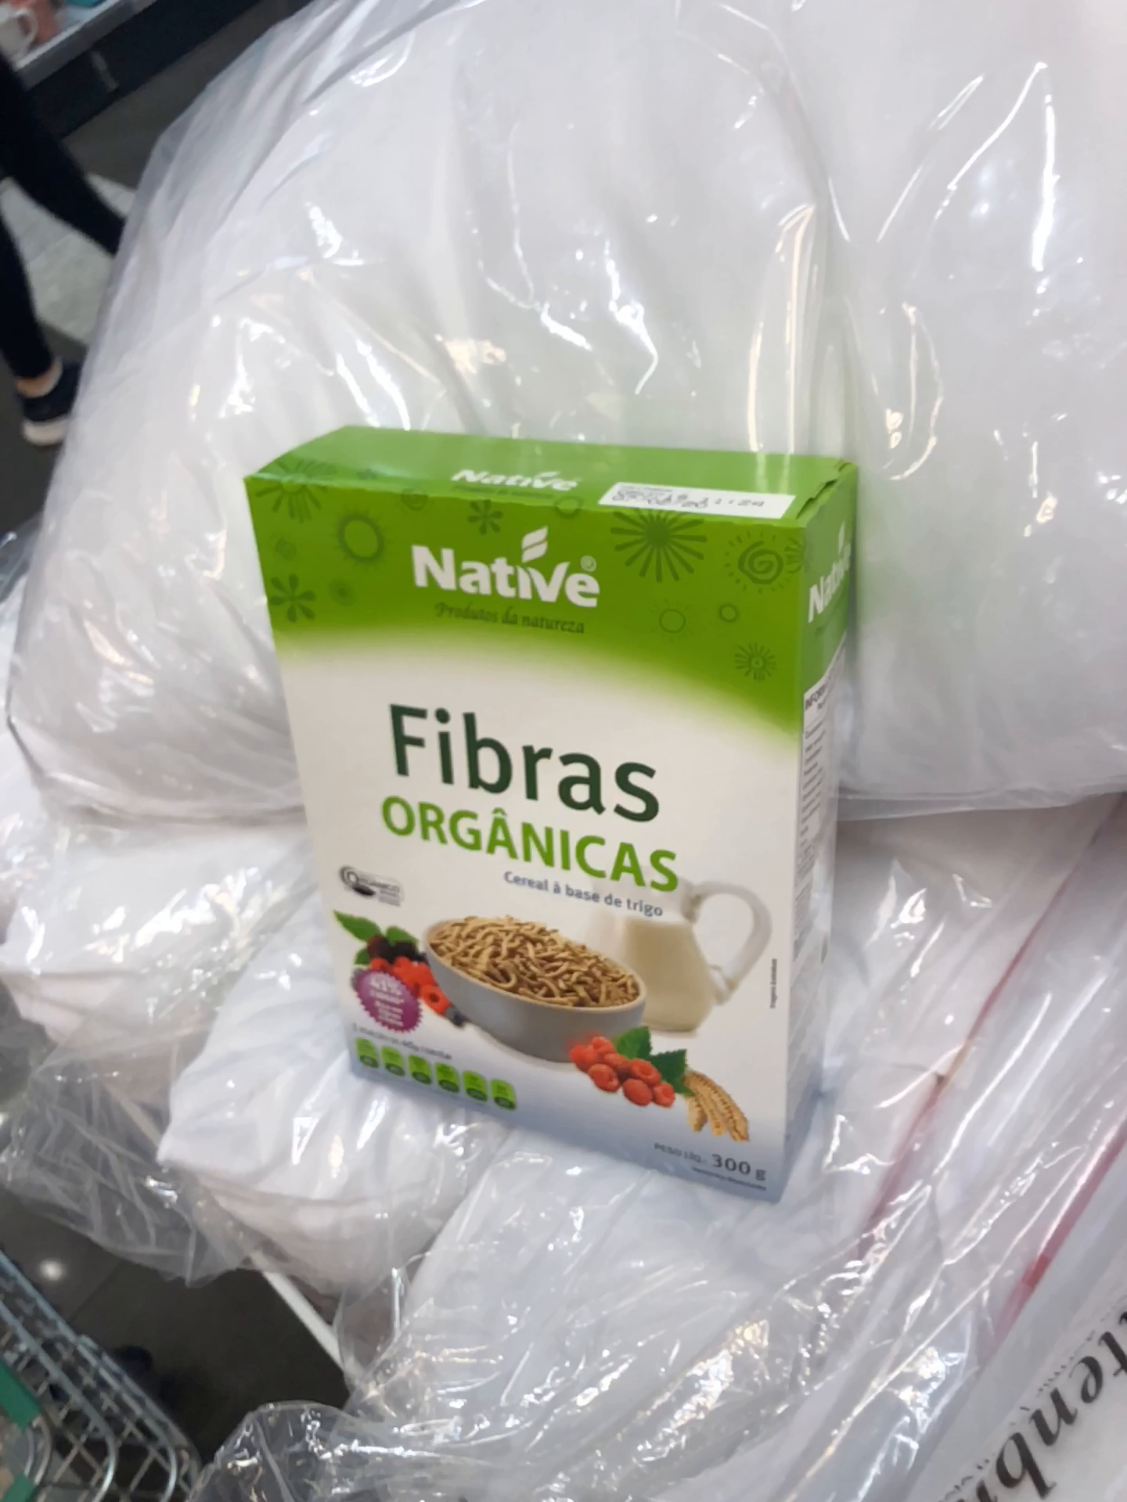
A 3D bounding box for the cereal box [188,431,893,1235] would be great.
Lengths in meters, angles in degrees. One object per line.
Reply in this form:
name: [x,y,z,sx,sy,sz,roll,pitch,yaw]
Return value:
cereal box: [-0.004,0.025,0.406,0.190,0.229,0.060,10,32,24]
